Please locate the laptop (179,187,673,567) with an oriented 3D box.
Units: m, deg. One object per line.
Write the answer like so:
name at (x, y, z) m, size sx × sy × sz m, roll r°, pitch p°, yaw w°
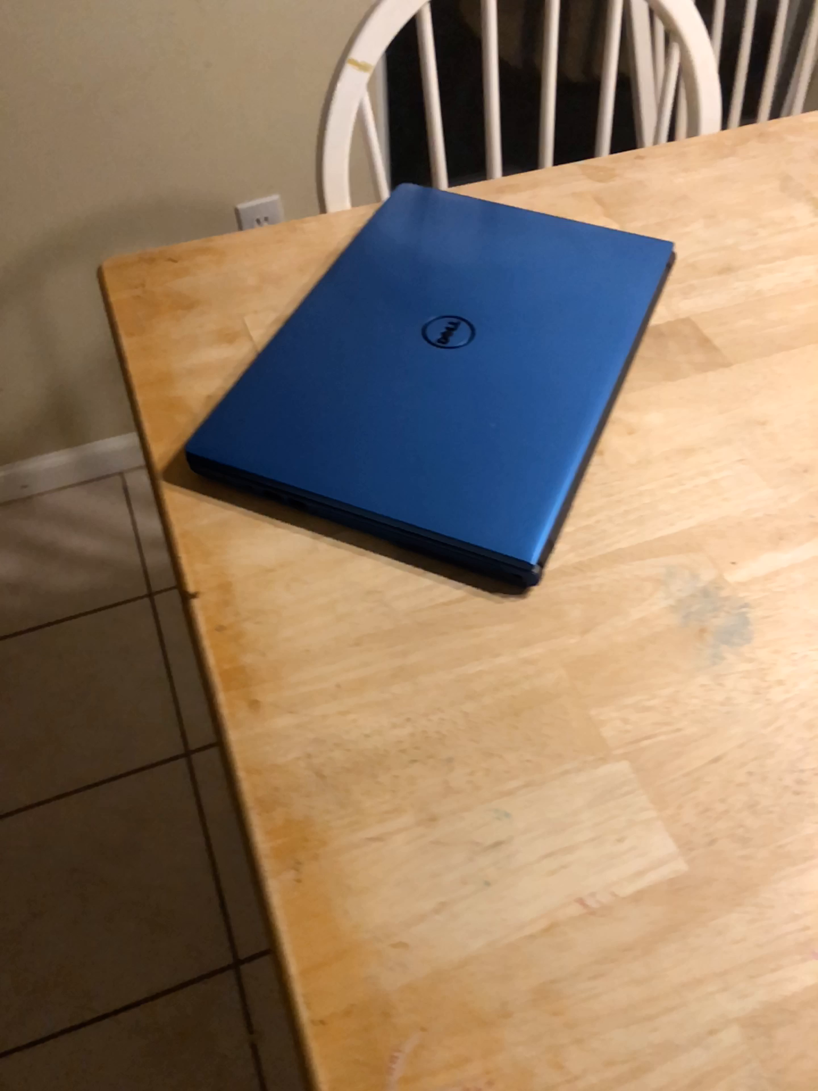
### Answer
laptop at (0.035, -0.164, 0.710) m, size 0.259 × 0.001 × 0.390 m, roll 18°, pitch 53°, yaw 16°
